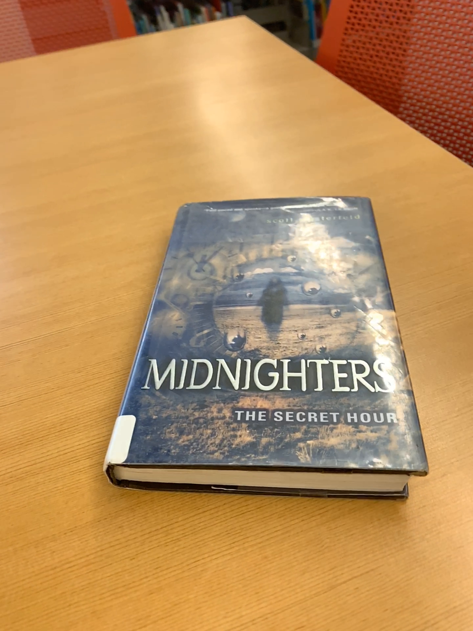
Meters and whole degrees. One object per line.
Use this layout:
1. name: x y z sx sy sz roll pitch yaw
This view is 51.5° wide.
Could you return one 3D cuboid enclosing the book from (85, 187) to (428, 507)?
1. book: 0.016 -0.002 0.304 0.151 0.036 0.221 0 46 7
